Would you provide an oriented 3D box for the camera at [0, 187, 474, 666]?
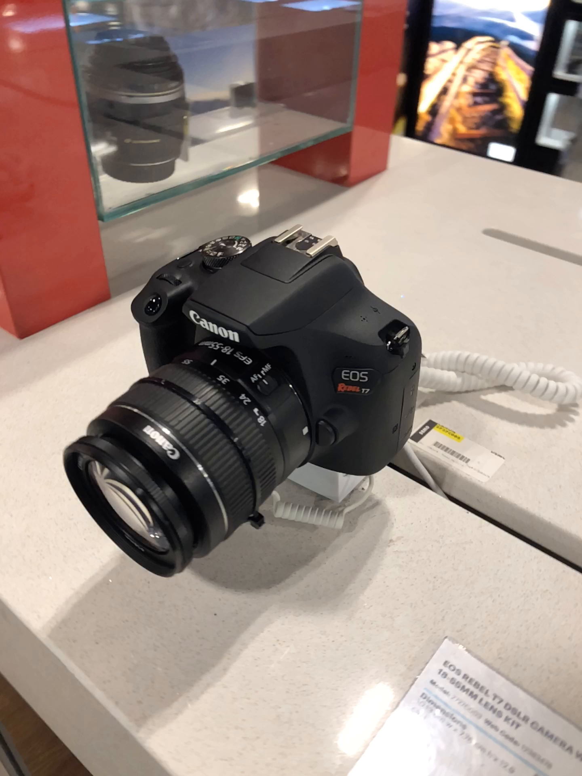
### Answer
[{"bbox_3d":[-0.027,-0.004,0.273,0.140,0.089,0.151,25,44,28],"label":"camera"}]
